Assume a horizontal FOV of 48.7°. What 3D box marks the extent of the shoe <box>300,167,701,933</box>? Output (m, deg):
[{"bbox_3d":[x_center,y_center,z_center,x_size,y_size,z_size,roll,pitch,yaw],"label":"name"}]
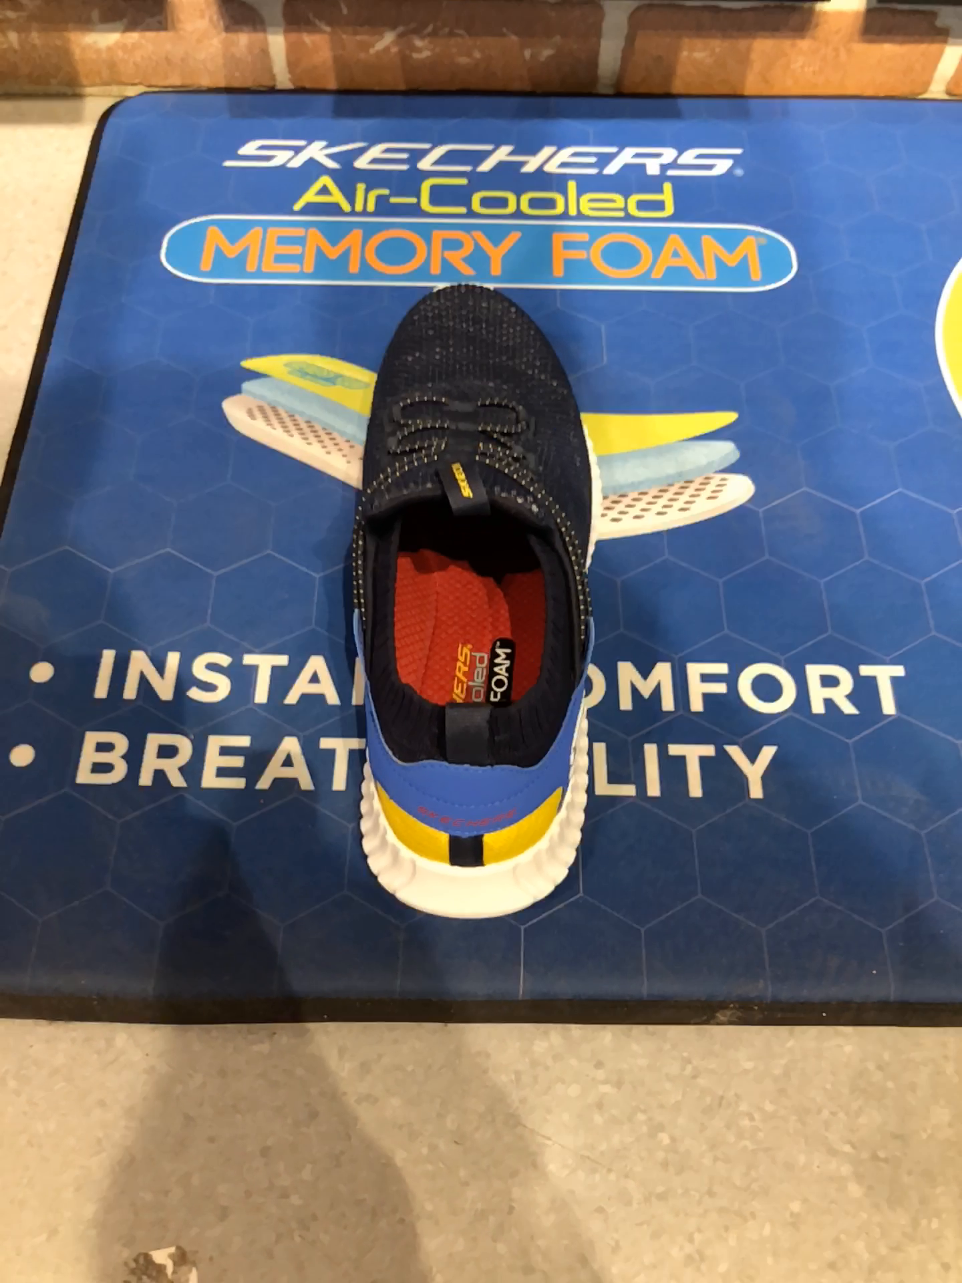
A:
[{"bbox_3d":[0.001,-0.044,0.407,0.111,0.103,0.281,-1,61,-1],"label":"shoe"}]
